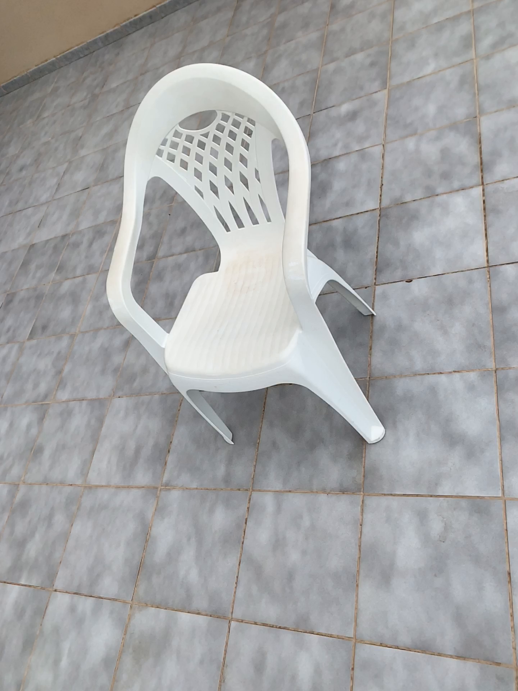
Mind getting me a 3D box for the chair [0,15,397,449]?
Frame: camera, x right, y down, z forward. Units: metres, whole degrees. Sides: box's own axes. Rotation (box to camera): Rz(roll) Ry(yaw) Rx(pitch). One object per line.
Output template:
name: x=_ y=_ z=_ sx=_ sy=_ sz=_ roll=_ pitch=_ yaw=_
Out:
chair: x=-0.037 y=-0.172 z=1.349 sx=0.545 sy=0.822 sz=0.610 roll=-6 pitch=57 yaw=28
